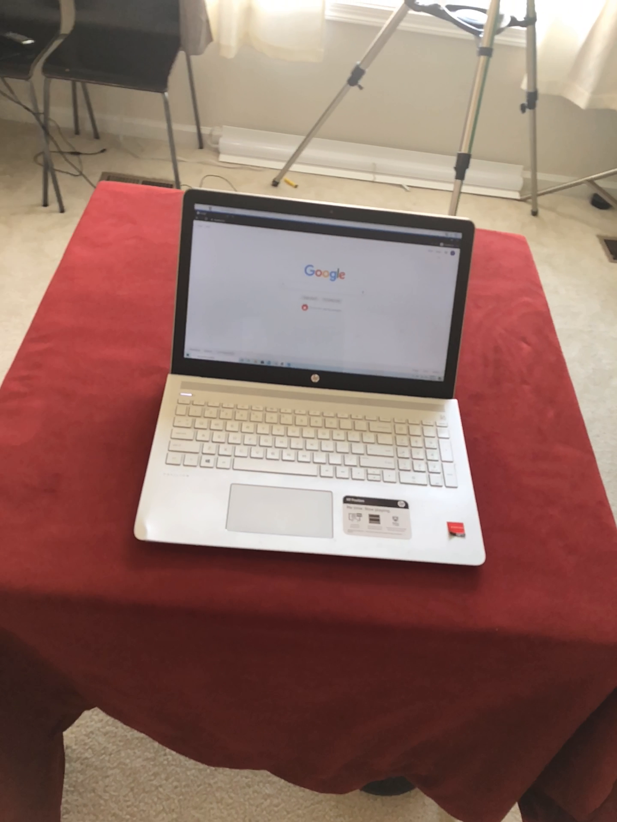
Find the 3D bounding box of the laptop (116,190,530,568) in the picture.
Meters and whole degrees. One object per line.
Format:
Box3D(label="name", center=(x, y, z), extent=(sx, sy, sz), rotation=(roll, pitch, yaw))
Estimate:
Box3D(label="laptop", center=(0.013, -0.053, 0.770), extent=(0.360, 0.158, 0.397), rotation=(6, 48, -4))
